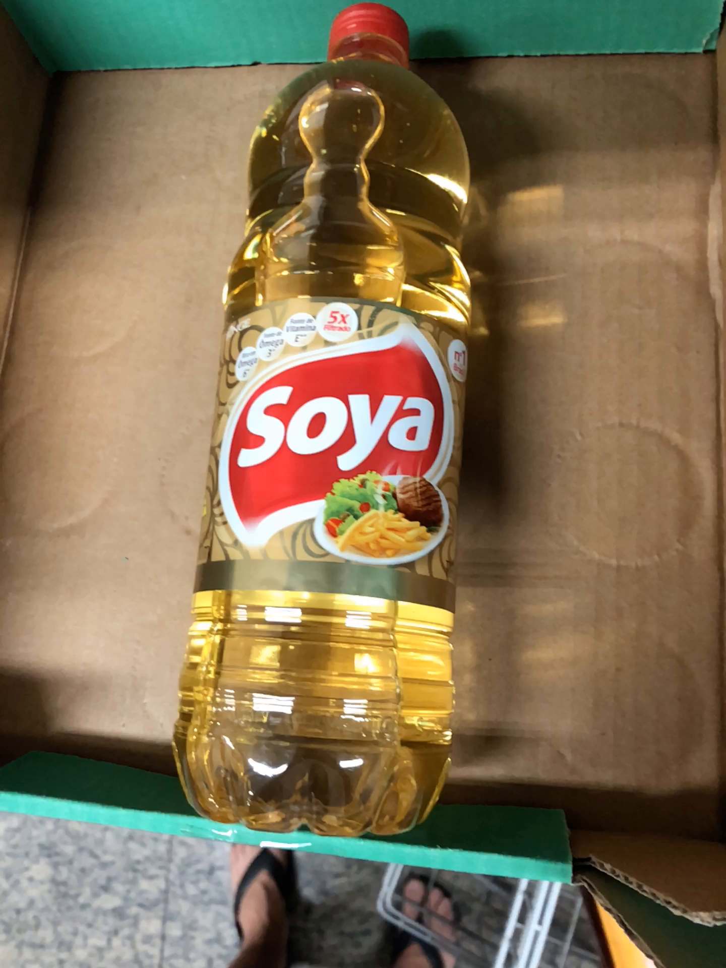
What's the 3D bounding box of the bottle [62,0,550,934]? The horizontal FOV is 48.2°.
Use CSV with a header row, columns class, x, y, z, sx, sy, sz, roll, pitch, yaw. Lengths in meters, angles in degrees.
class,x,y,z,sx,sy,sz,roll,pitch,yaw
bottle,-0.003,-0.019,0.204,0.080,0.070,0.210,4,79,8
